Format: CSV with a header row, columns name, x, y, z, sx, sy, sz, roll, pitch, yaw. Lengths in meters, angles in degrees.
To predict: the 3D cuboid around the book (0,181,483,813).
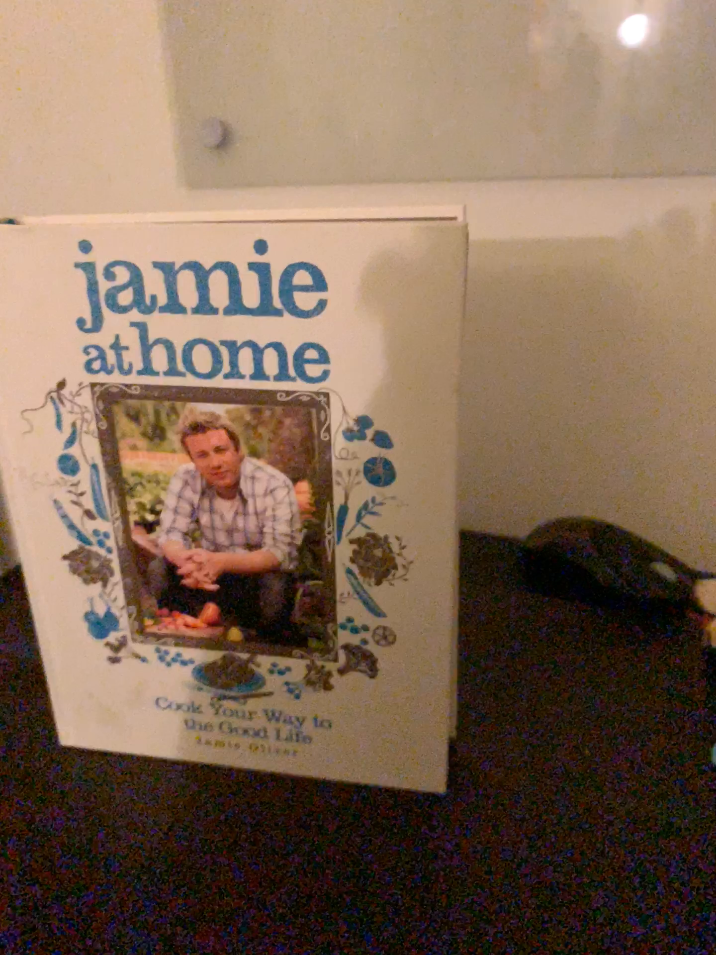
name,x,y,z,sx,sy,sz,roll,pitch,yaw
book,-0.056,0.015,0.336,0.210,0.269,0.050,3,24,12
